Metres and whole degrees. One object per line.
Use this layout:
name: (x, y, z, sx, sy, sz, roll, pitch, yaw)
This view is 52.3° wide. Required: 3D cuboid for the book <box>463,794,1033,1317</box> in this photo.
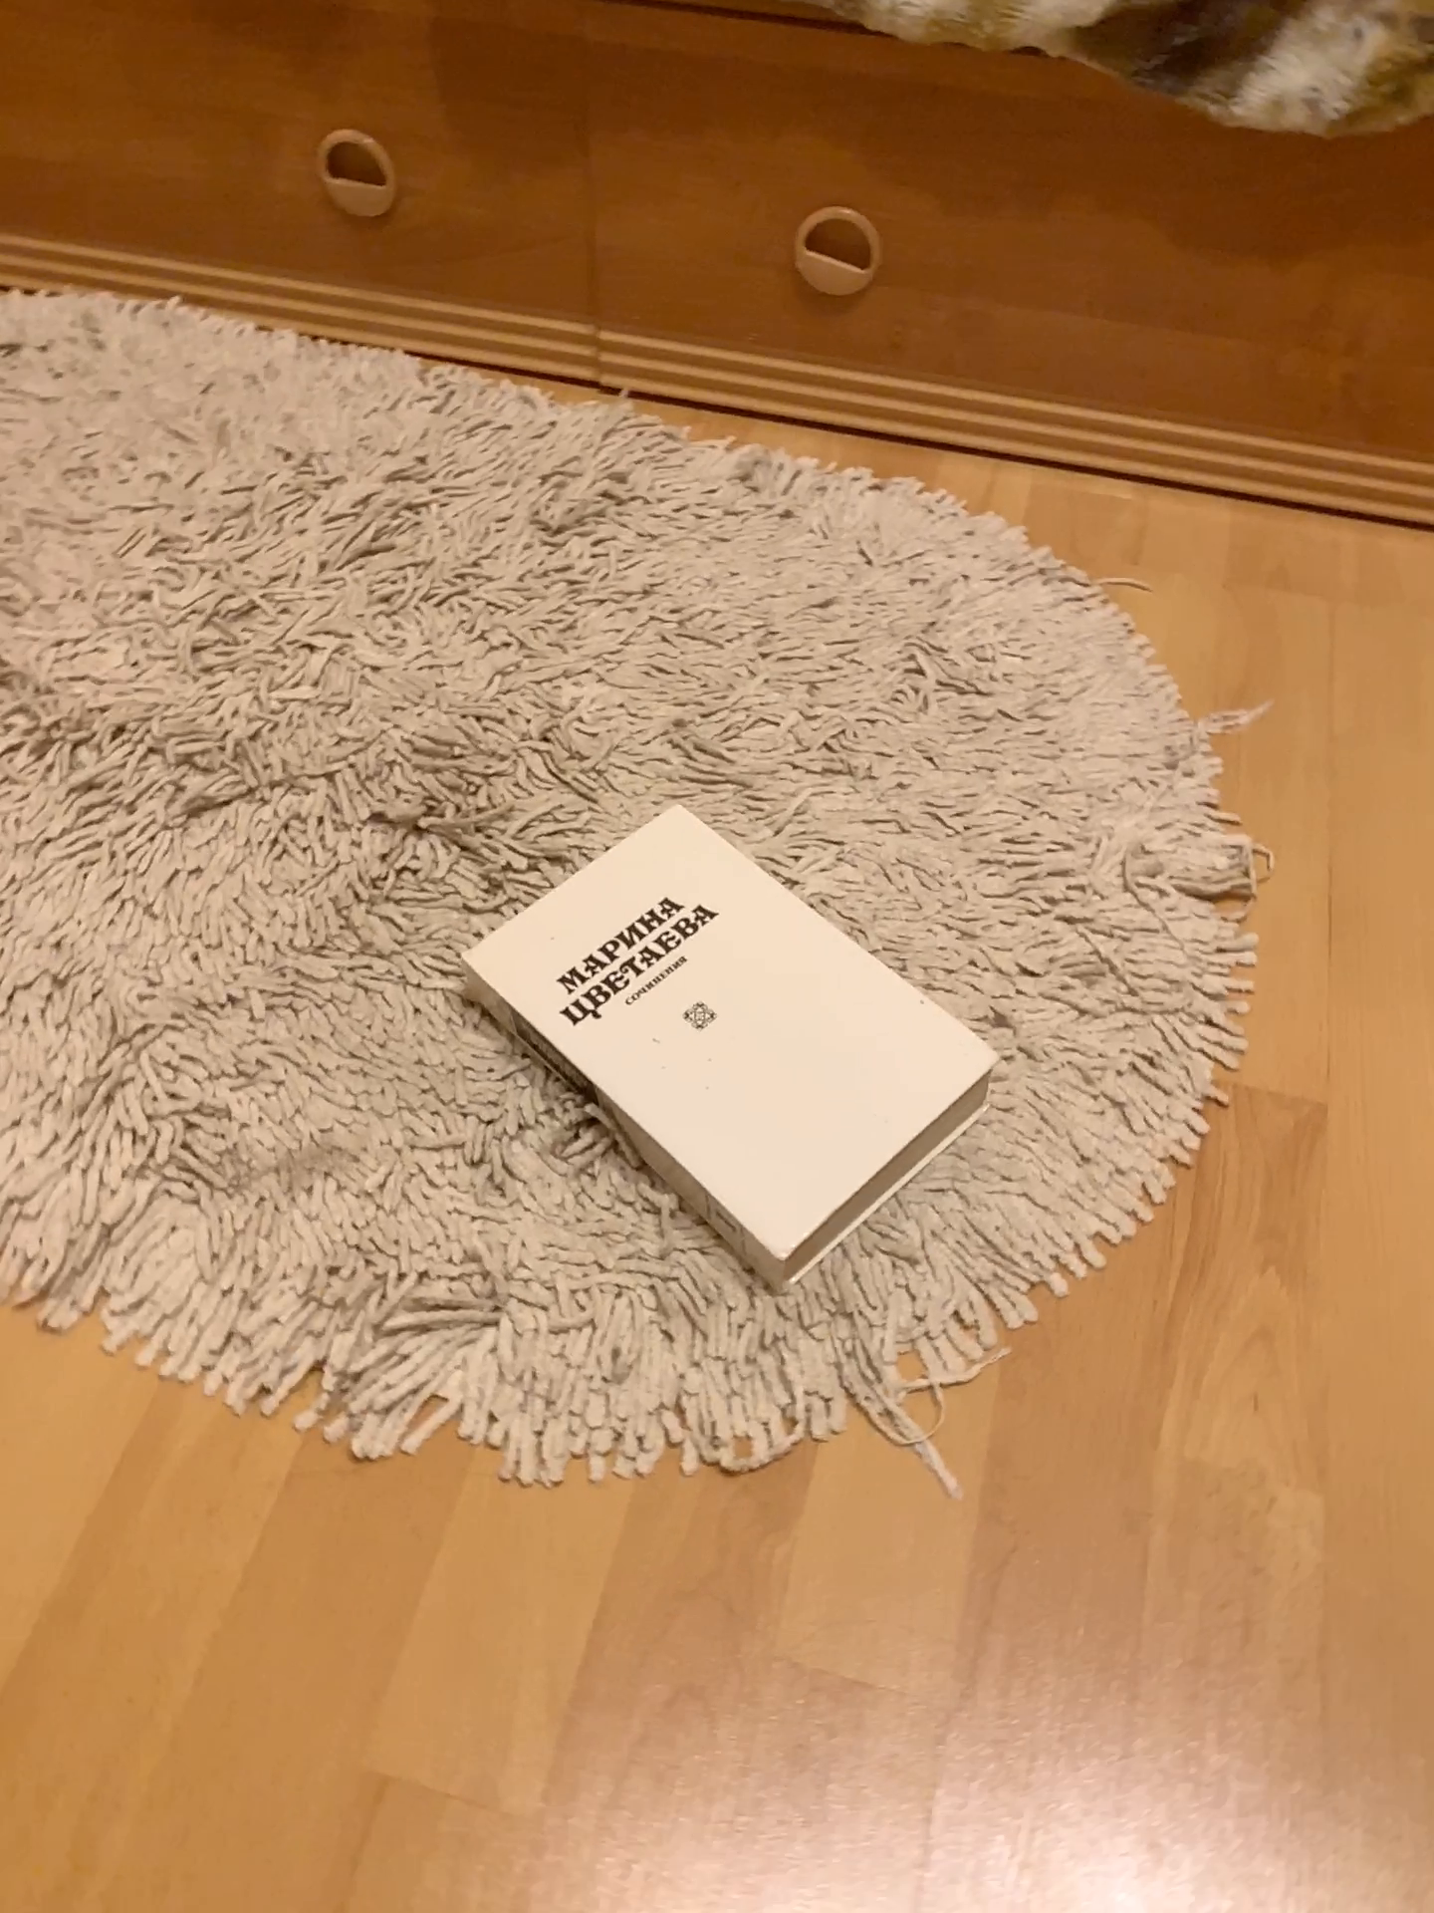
book: (0.010, 0.033, 0.642, 0.141, 0.040, 0.208, -36, 61, -25)
